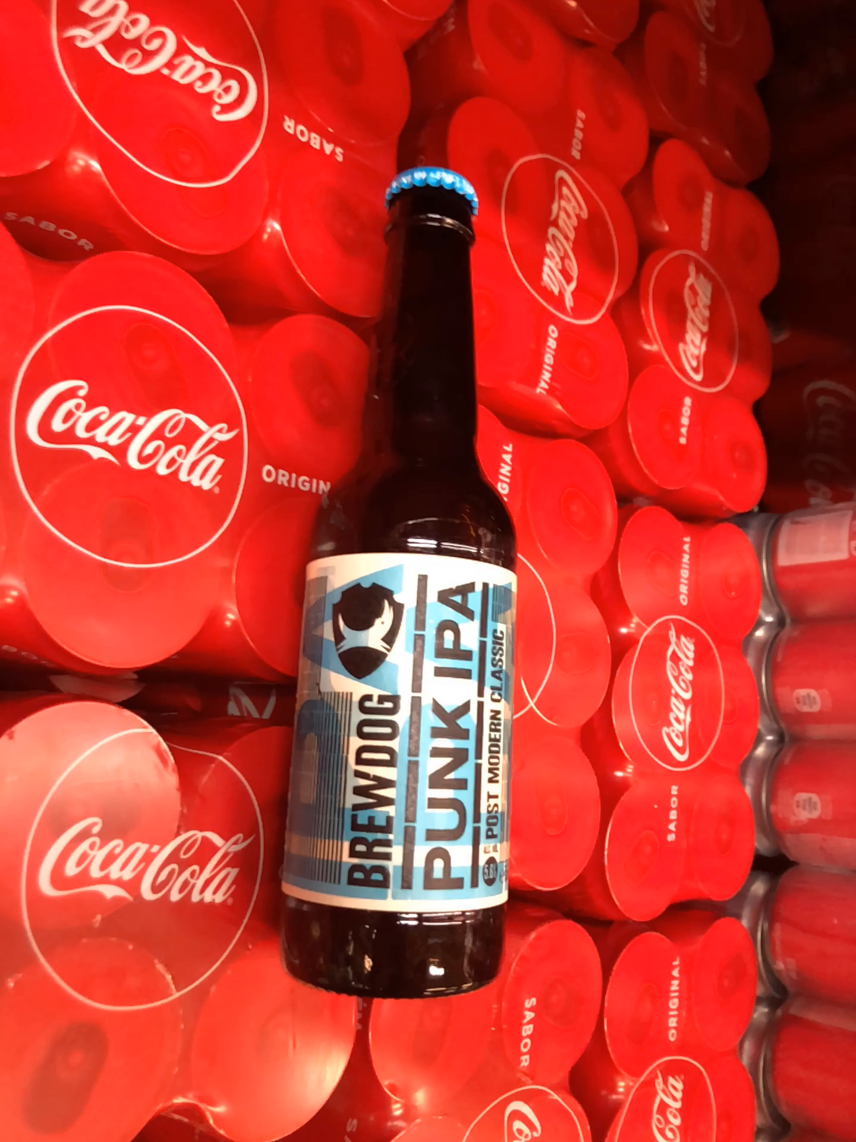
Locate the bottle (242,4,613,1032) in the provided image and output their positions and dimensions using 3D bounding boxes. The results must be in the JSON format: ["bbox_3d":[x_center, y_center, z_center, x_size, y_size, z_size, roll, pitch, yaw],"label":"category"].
[{"bbox_3d":[0.003,-0.015,0.250,0.060,0.060,0.230,11,78,-41],"label":"bottle"}]
